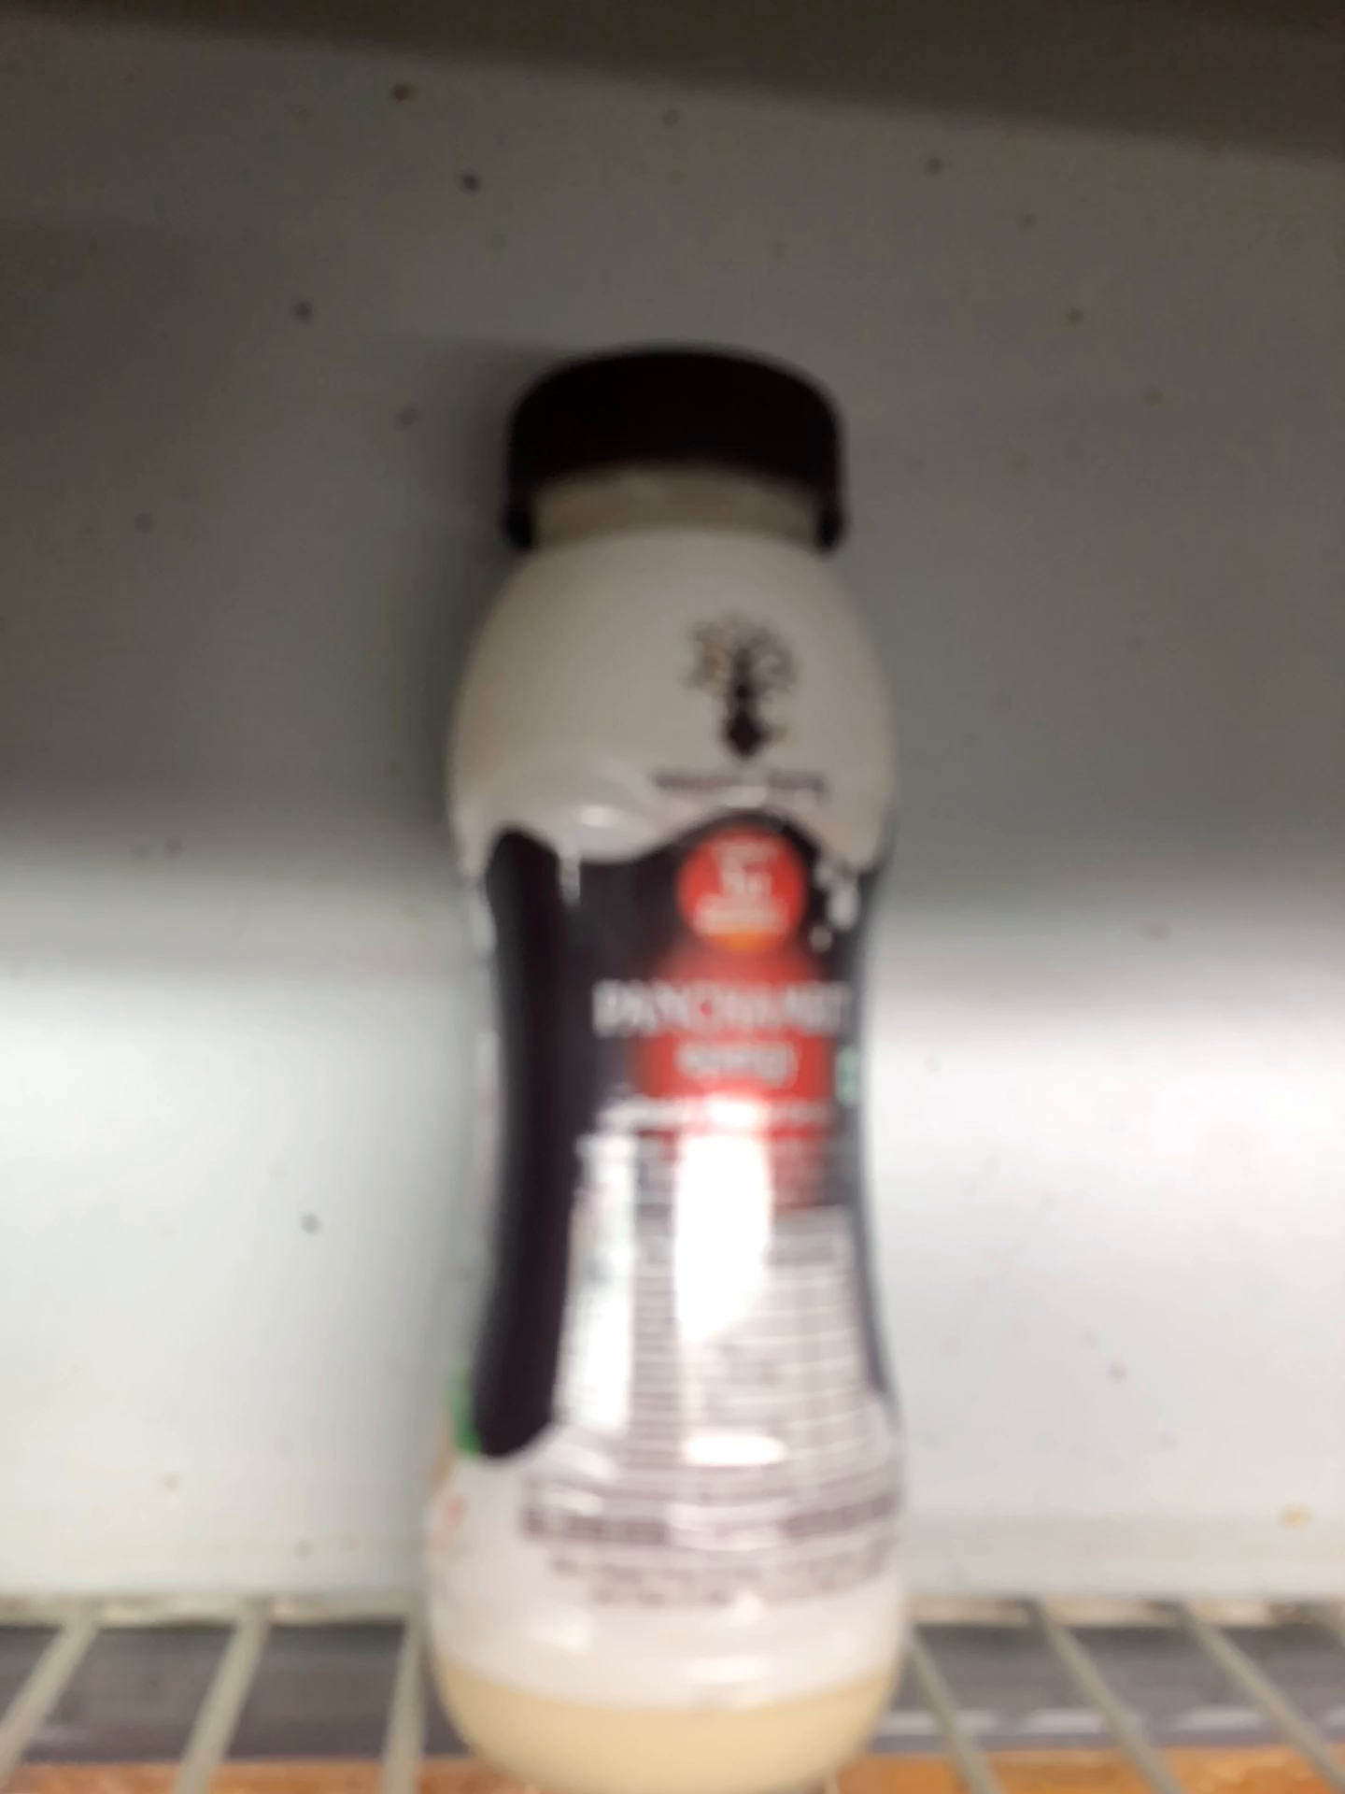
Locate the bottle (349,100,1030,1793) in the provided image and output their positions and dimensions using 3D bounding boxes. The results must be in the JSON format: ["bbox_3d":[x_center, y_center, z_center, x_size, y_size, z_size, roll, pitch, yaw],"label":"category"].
[{"bbox_3d":[-0.002,0.007,0.168,0.060,0.060,0.160,2,84,-15],"label":"bottle"}]
